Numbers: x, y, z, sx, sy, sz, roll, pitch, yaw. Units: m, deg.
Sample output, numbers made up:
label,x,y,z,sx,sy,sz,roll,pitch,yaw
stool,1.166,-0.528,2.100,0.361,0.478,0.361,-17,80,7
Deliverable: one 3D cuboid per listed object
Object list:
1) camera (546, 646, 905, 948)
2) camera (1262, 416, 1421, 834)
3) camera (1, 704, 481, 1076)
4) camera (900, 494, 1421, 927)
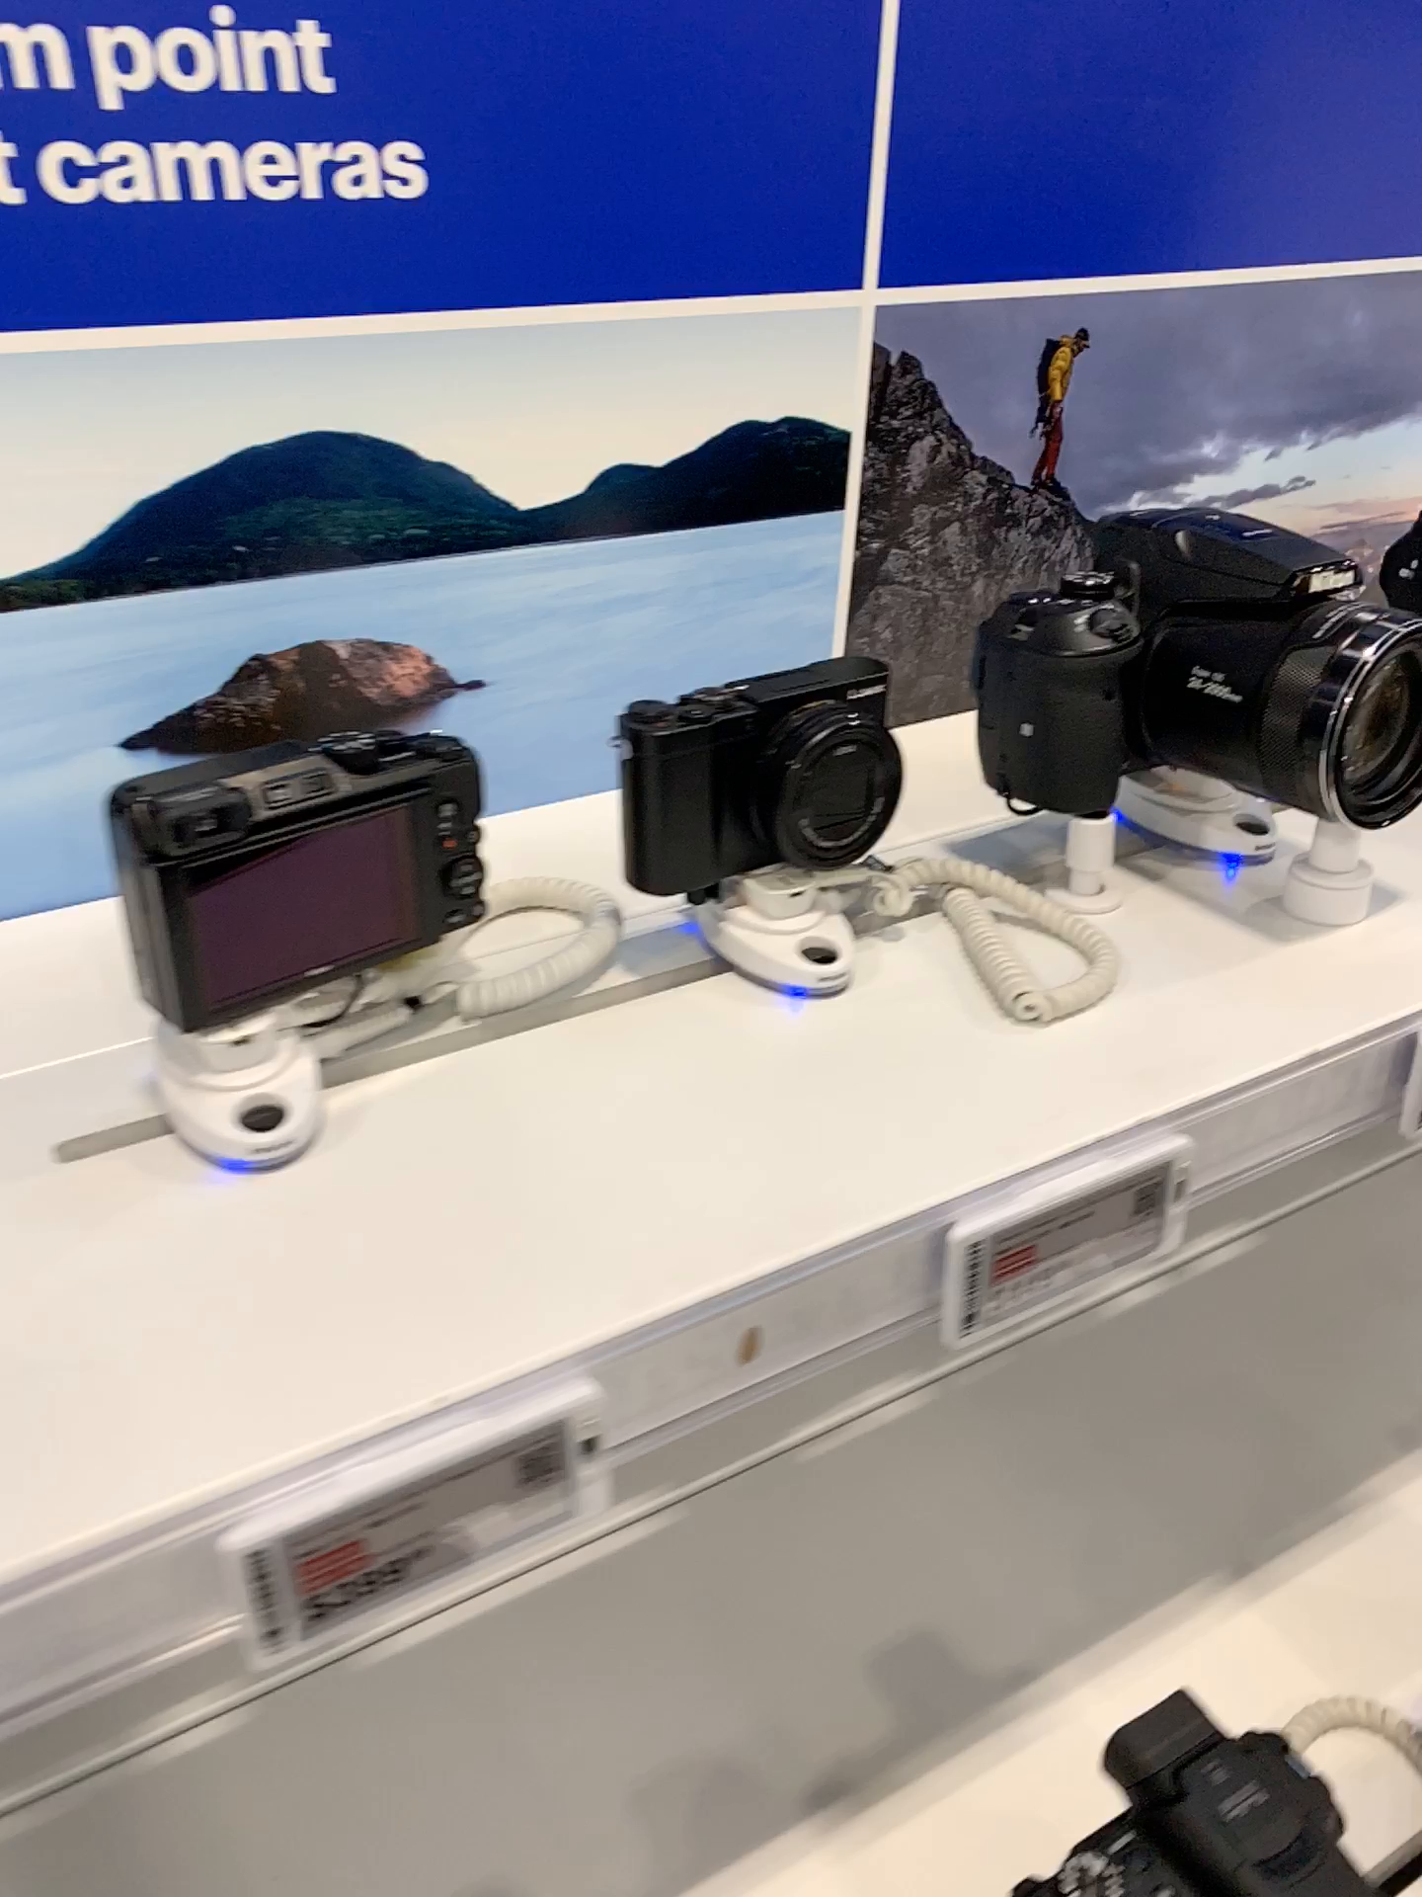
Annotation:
label,x,y,z,sx,sy,sz,roll,pitch,yaw
camera,0.006,-0.055,0.504,0.110,0.070,0.050,-17,31,-26
camera,0.391,-0.154,0.635,0.160,0.109,0.221,-17,31,-27
camera,-0.139,-0.022,0.447,0.120,0.070,0.050,-22,33,-33
camera,0.183,-0.101,0.556,0.160,0.099,0.151,-17,31,-26
